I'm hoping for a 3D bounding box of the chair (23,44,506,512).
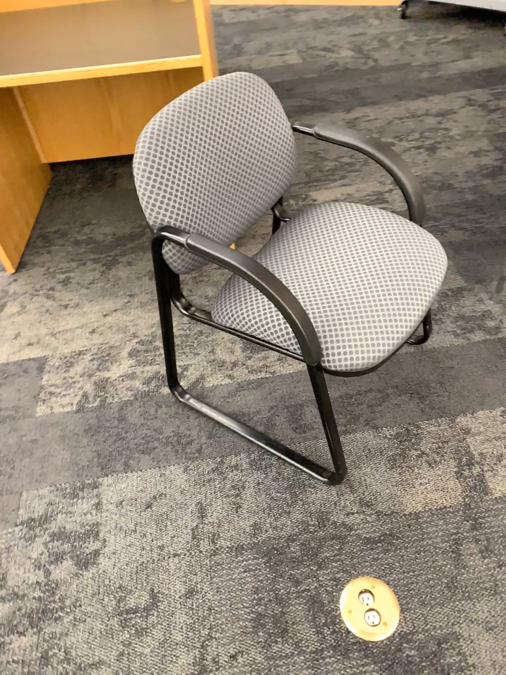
[{"bbox_3d":[0.081,-0.196,1.288,0.721,0.677,0.732,24,54,26],"label":"chair"}]
